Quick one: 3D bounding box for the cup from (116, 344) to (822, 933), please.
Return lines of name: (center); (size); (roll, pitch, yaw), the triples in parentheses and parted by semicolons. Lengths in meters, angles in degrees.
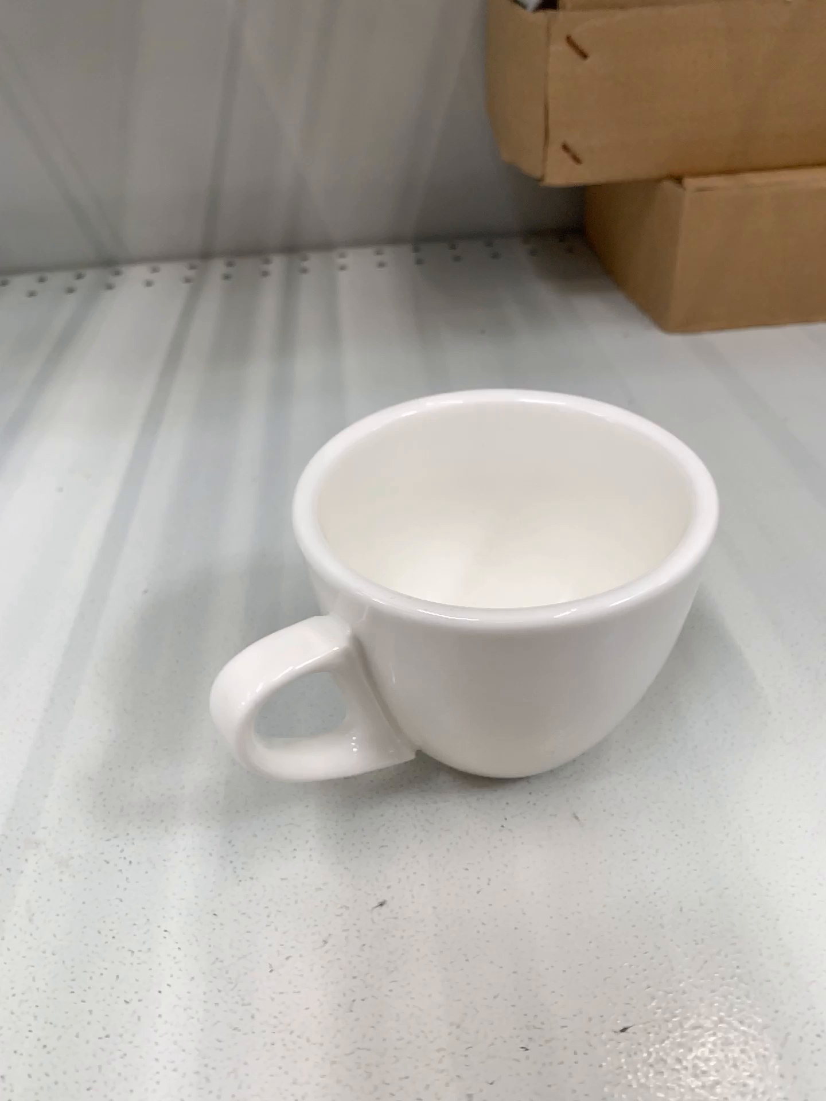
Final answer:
cup: (0.010, 0.008, 0.216); (0.132, 0.062, 0.095); (-20, 39, -21)
